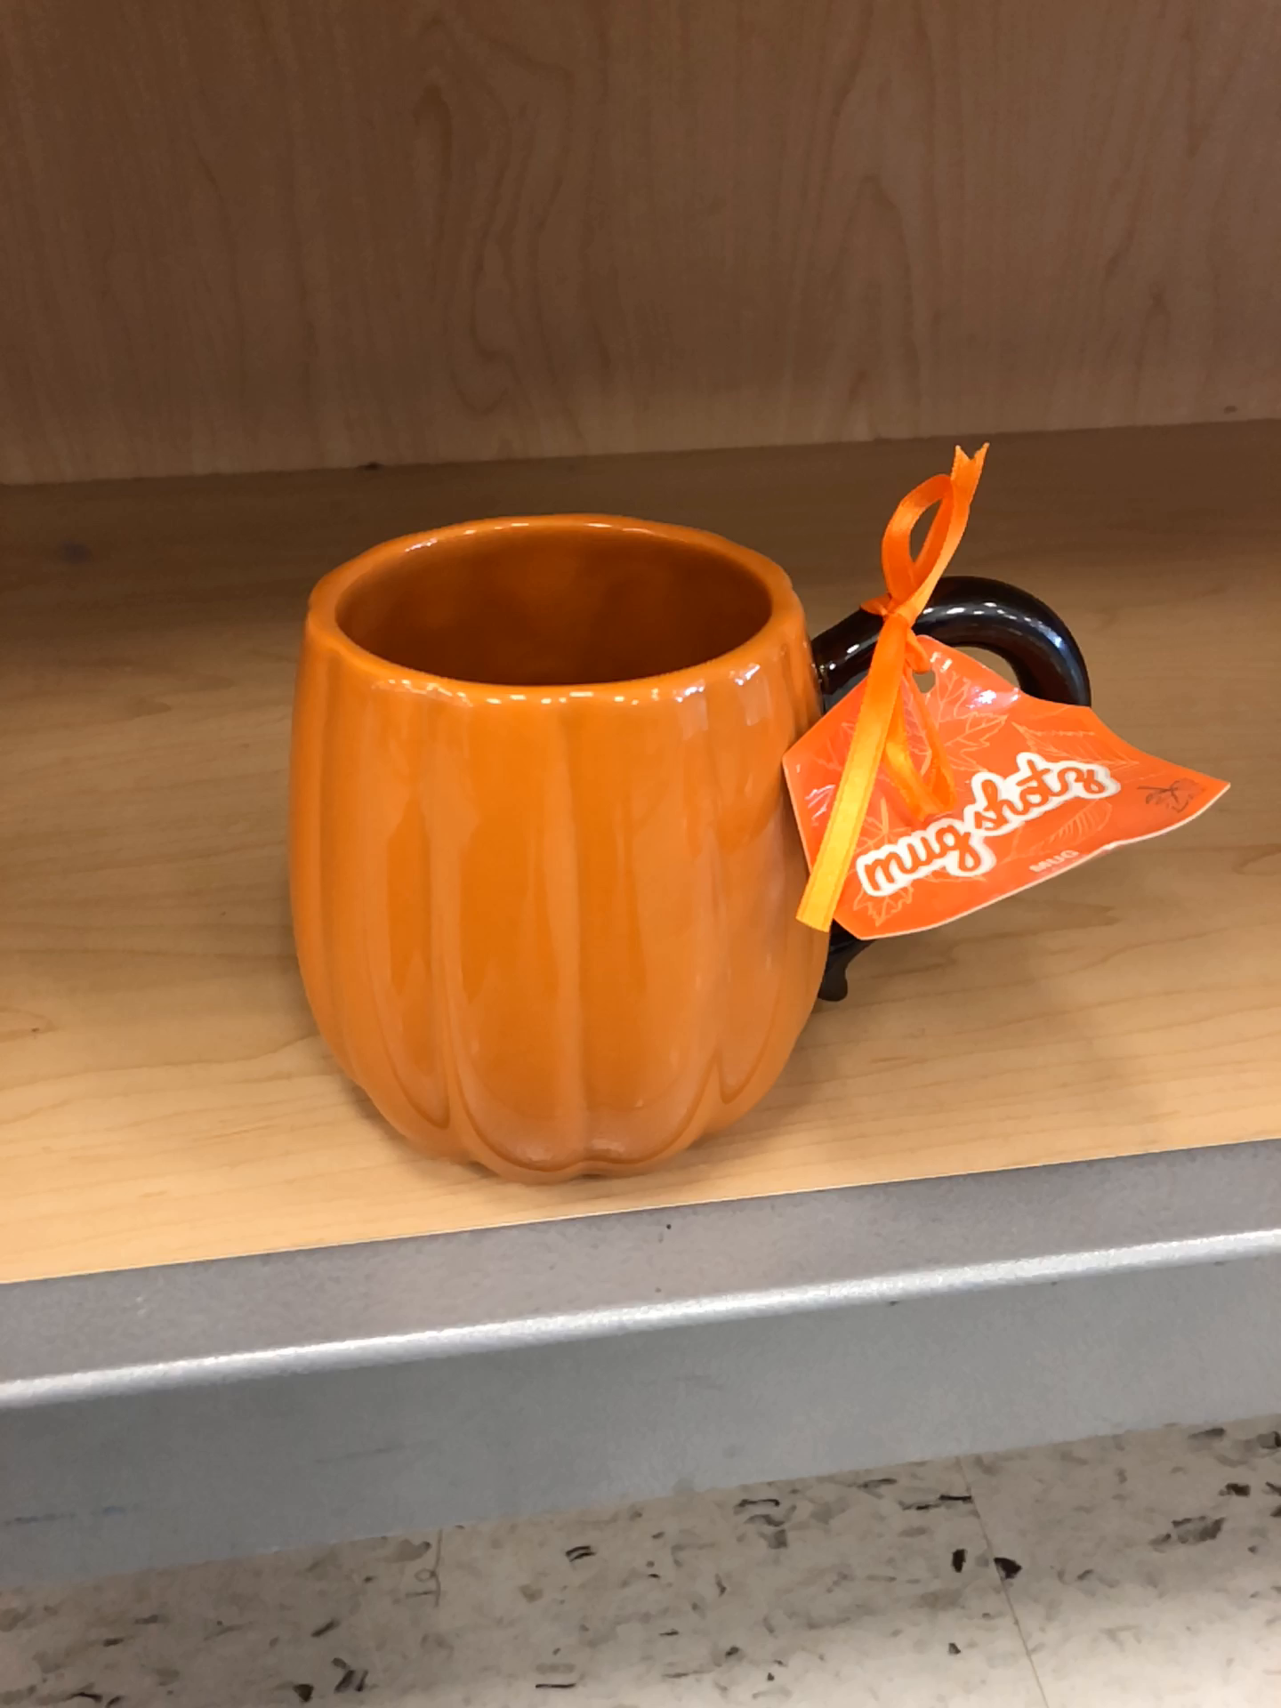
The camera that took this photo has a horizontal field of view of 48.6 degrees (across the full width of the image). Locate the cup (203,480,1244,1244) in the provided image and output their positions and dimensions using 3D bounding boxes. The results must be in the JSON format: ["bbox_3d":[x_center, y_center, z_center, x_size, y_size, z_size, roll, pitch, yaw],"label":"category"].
[{"bbox_3d":[0.008,-0.003,0.245,0.140,0.089,0.081,-5,33,-7],"label":"cup"}]
